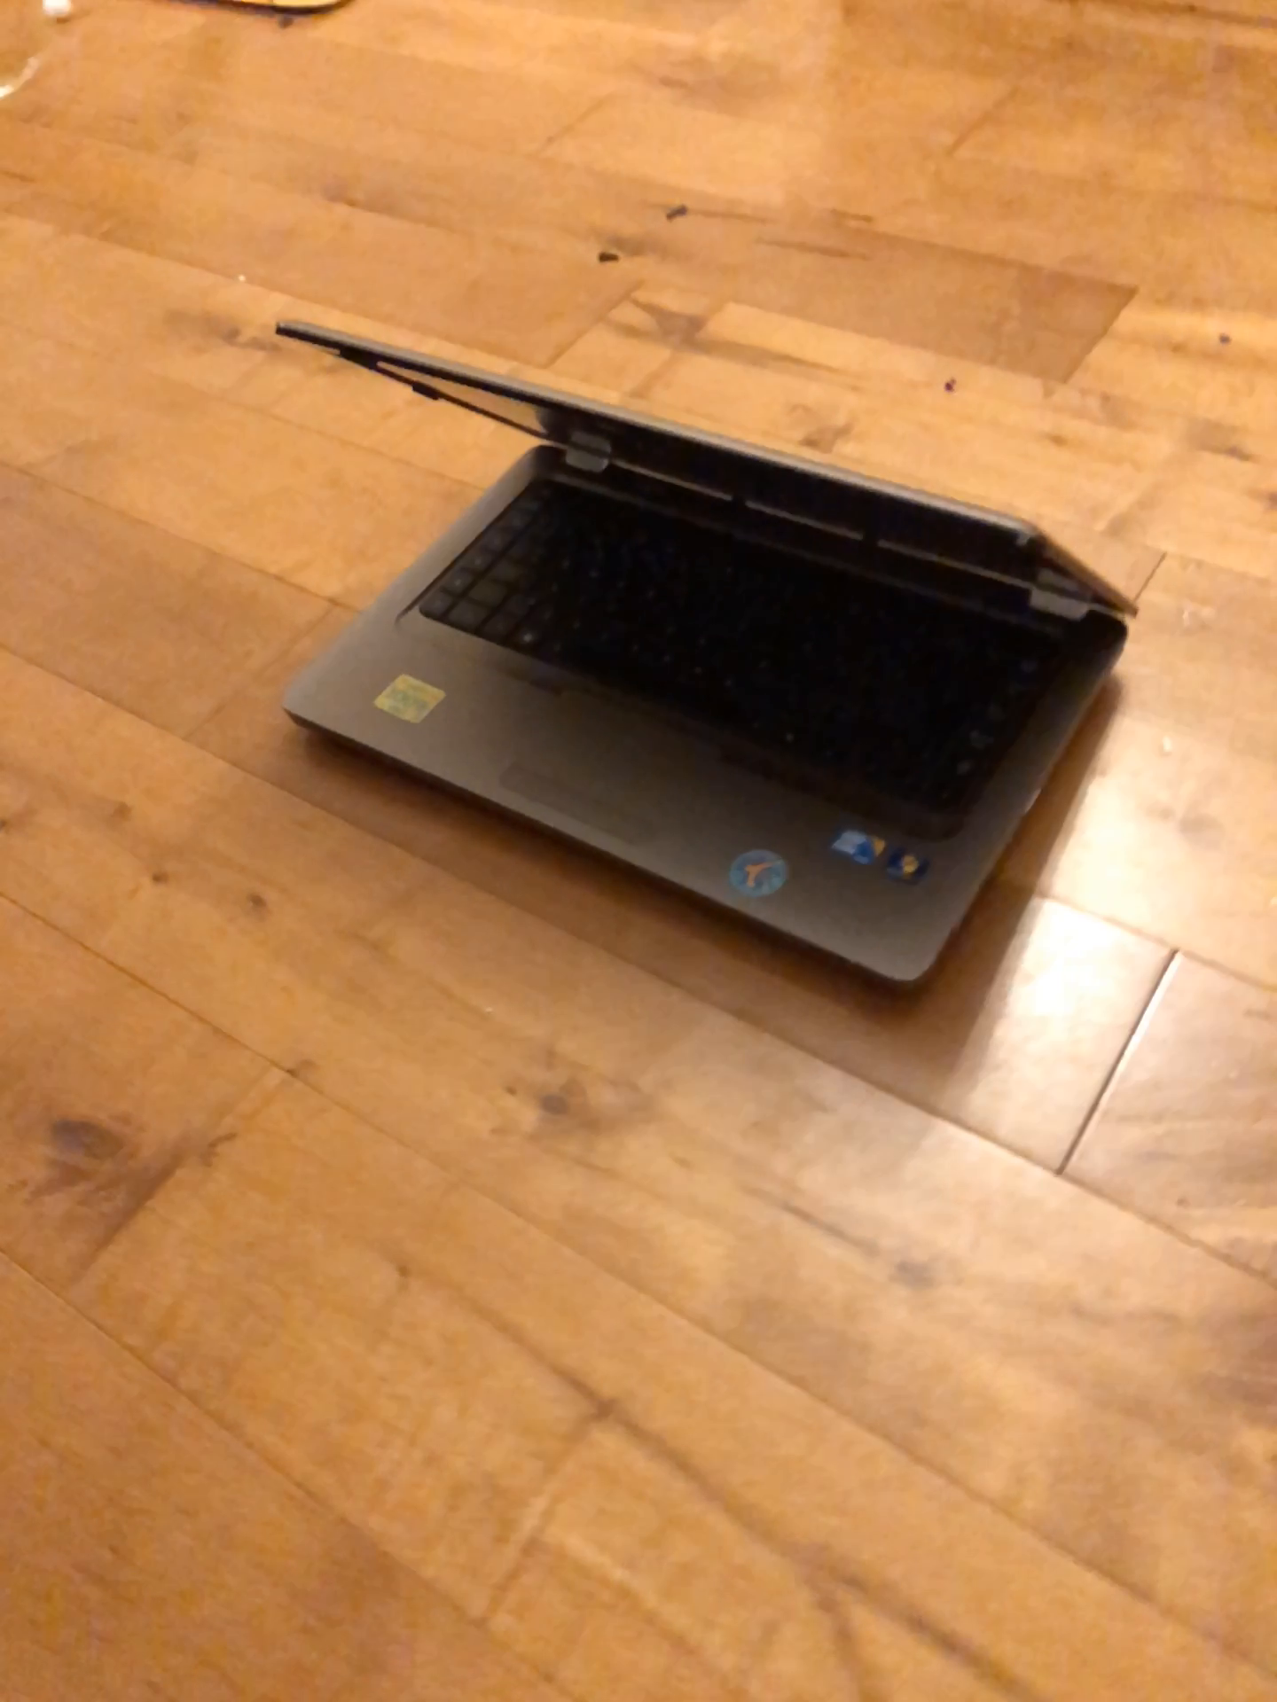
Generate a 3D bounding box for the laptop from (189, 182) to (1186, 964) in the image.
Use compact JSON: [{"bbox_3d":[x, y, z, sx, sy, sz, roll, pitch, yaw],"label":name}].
[{"bbox_3d":[0.022,-0.145,0.646,0.347,0.164,0.223,24,59,24],"label":"laptop"}]
